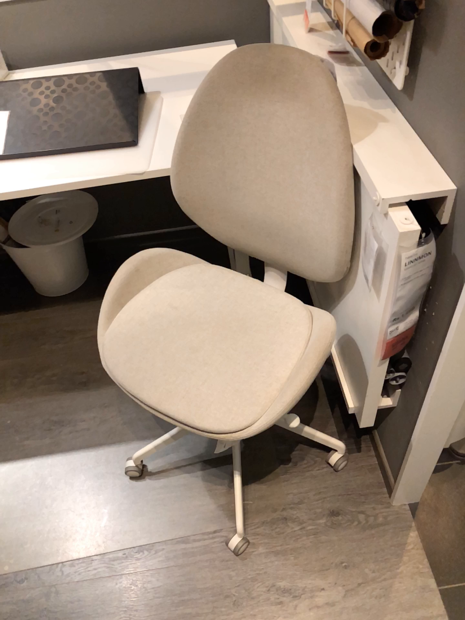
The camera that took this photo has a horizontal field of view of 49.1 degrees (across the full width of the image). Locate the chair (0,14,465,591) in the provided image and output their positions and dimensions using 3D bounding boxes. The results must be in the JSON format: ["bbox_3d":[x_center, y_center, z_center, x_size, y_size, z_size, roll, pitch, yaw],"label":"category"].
[{"bbox_3d":[-0.019,-0.007,1.189,0.682,0.964,0.682,25,55,27],"label":"chair"}]
